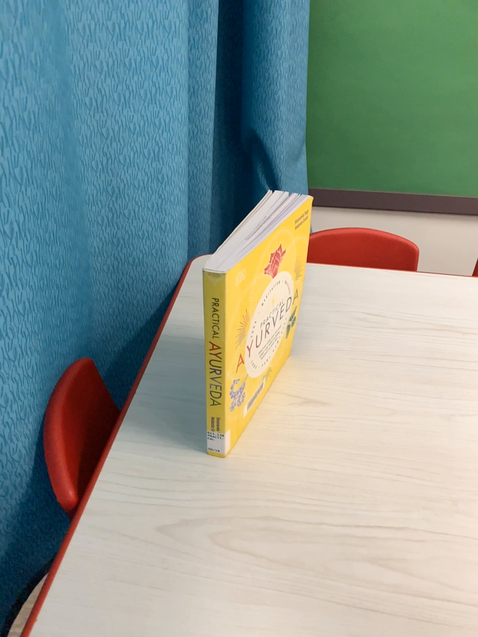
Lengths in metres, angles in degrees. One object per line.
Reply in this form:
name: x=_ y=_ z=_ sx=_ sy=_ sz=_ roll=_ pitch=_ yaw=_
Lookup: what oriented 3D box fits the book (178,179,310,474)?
book: x=0.011 y=0.005 z=0.553 sx=0.050 sy=0.259 sz=0.211 roll=15 pitch=37 yaw=19
